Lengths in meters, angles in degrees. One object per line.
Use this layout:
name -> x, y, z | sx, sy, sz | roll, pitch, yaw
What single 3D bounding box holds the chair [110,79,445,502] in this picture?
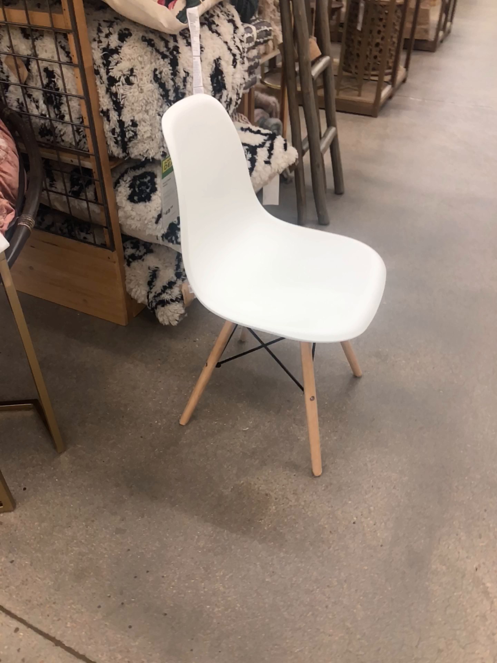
chair -> 0.076, -0.095, 1.322 | 0.530, 0.806, 0.442 | 16, 42, 19
